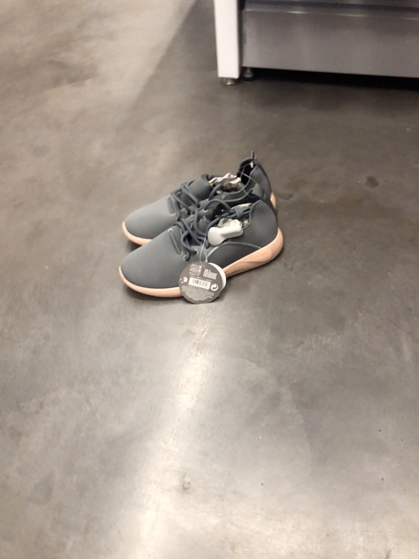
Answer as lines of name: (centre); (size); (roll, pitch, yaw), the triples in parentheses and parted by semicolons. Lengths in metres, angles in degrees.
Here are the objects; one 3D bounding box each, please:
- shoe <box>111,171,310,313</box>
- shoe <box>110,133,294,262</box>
shoe: (0.002, -0.053, 0.631); (0.240, 0.100, 0.090); (-17, 53, -9)
shoe: (-0.010, -0.121, 0.678); (0.240, 0.100, 0.090); (-15, 52, -8)
